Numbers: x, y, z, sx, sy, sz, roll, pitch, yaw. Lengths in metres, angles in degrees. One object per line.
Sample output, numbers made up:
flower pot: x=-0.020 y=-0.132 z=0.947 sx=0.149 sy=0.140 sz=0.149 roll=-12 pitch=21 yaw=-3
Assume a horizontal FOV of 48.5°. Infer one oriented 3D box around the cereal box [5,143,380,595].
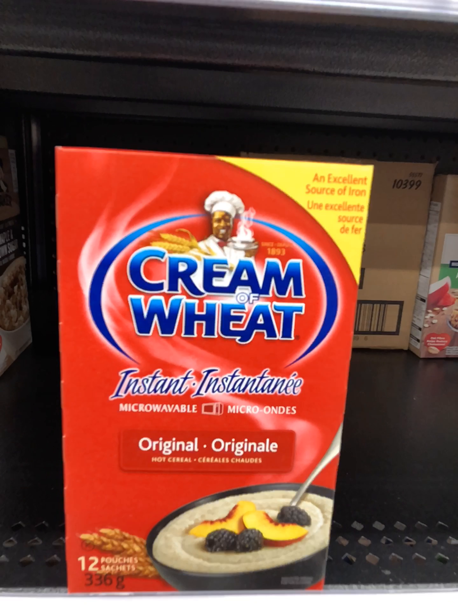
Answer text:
cereal box: x=-0.017 y=0.029 z=0.231 sx=0.130 sy=0.189 sz=0.060 roll=2 pitch=16 yaw=-4
